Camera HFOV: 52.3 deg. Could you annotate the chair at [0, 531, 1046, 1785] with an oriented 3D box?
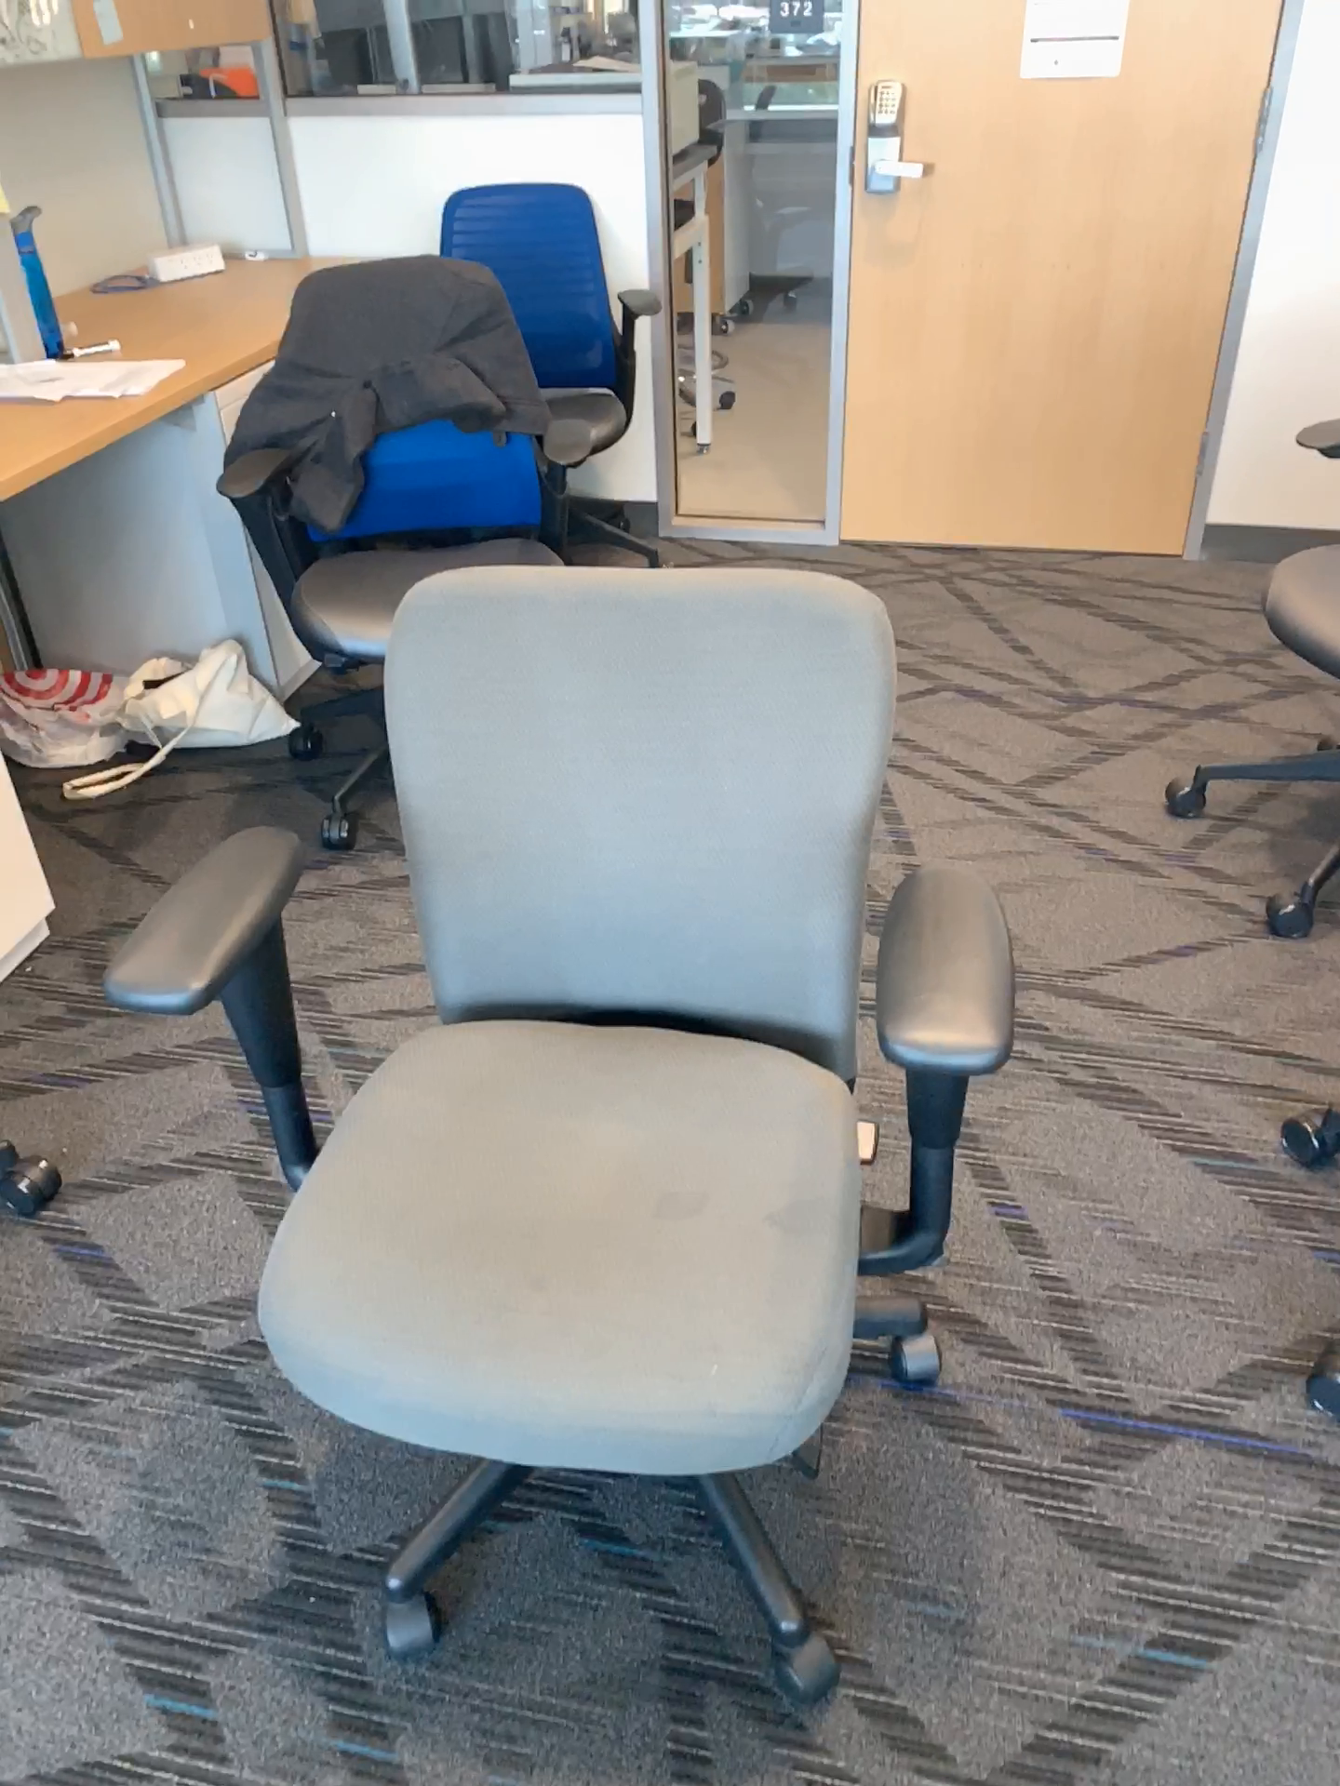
[{"bbox_3d":[-0.053,0.192,1.259,0.670,0.813,0.666,6,34,13],"label":"chair"}]
